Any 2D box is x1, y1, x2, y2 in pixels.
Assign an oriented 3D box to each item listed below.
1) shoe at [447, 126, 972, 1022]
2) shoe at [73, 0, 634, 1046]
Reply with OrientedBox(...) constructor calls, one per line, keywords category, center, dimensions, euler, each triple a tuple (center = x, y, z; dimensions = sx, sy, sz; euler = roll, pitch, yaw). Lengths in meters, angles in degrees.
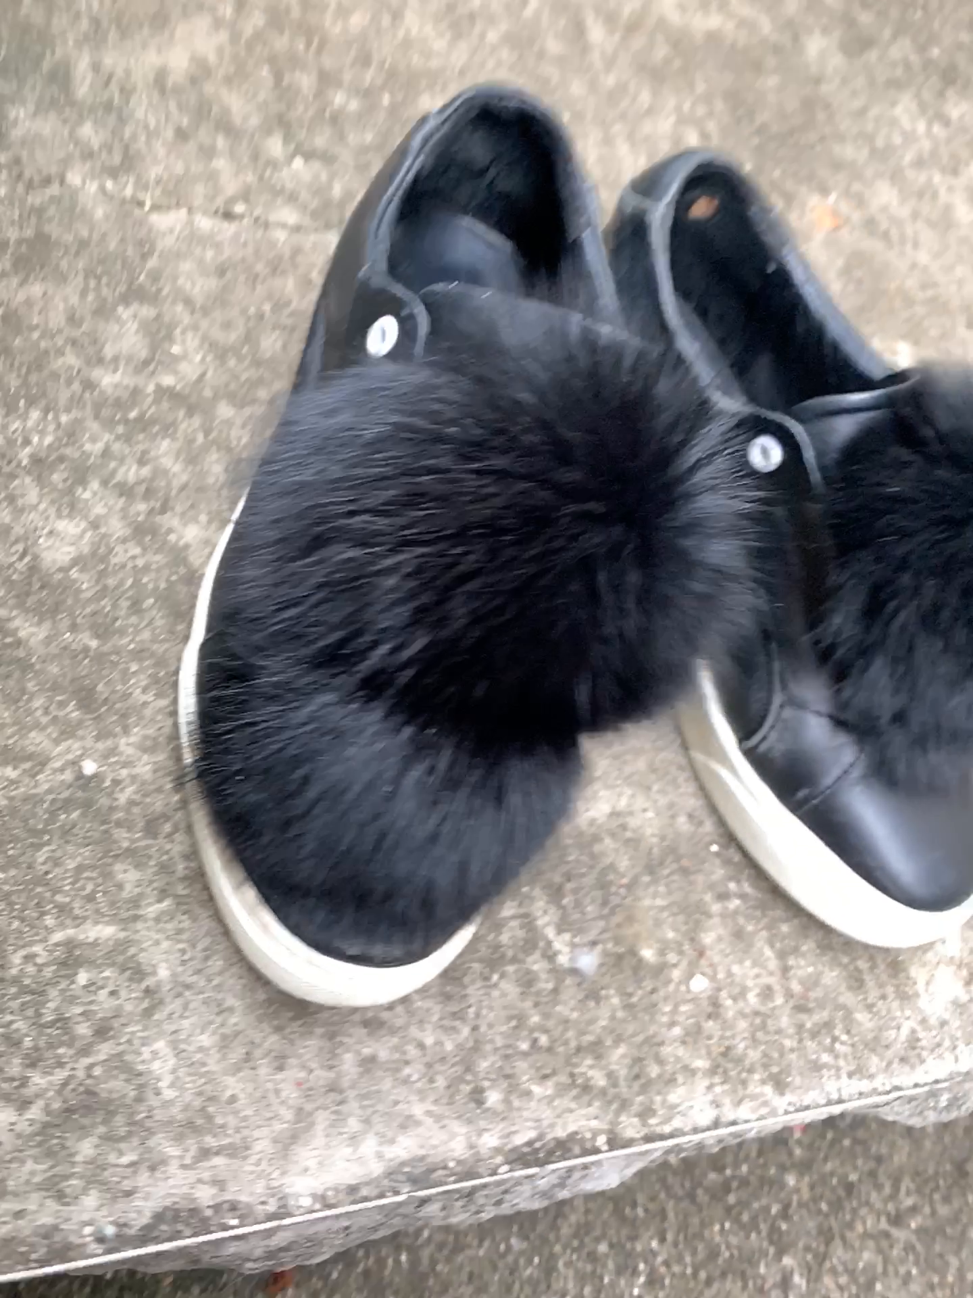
OrientedBox(category="shoe", center=(0.096, -0.030, 0.313), dimensions=(0.098, 0.097, 0.243), euler=(-16, 72, -31))
OrientedBox(category="shoe", center=(-0.026, -0.045, 0.279), dimensions=(0.095, 0.097, 0.269), euler=(15, 59, -17))
